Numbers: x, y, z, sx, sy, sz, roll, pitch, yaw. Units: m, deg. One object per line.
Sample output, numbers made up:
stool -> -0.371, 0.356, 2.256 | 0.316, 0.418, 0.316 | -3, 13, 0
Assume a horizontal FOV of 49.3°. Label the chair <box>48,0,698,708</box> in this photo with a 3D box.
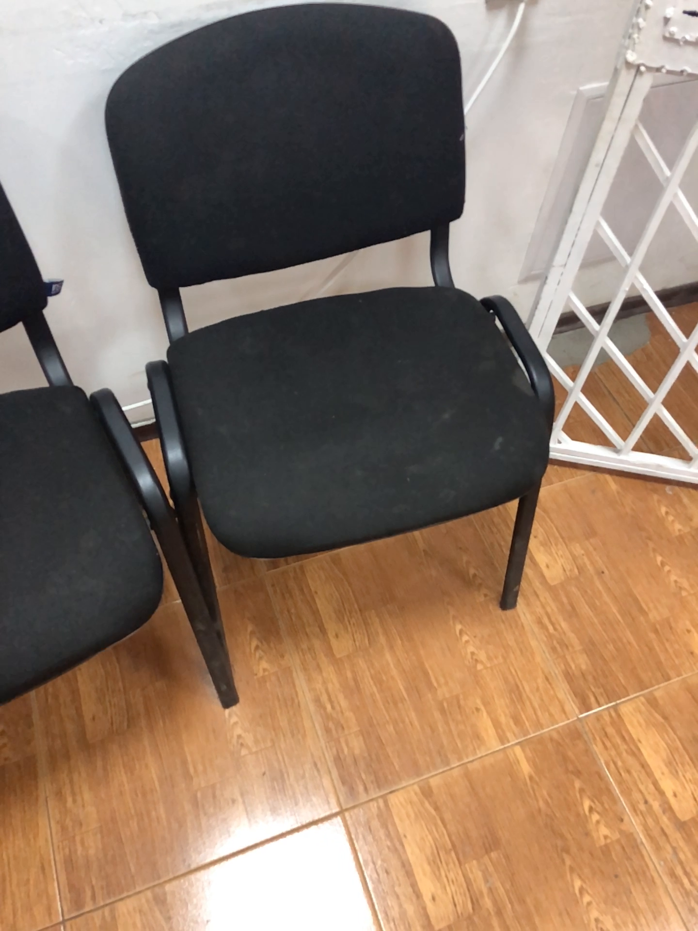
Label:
chair -> -0.009, -0.142, 1.083 | 0.570, 0.688, 0.621 | -13, 57, -12
